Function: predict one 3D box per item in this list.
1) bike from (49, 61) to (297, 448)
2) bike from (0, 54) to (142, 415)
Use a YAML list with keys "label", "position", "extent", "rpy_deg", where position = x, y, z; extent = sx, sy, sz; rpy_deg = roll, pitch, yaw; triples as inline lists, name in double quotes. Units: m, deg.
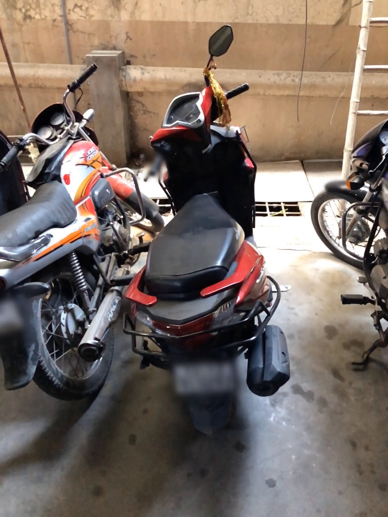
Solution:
- label: "bike"
  position: [-0.060, -0.143, 1.986]
  extent: [0.630, 1.139, 1.446]
  rpy_deg: [1, 35, 0]
- label: "bike"
  position: [-0.788, -0.290, 2.117]
  extent: [0.838, 1.089, 1.658]
  rpy_deg: [1, 34, 0]
